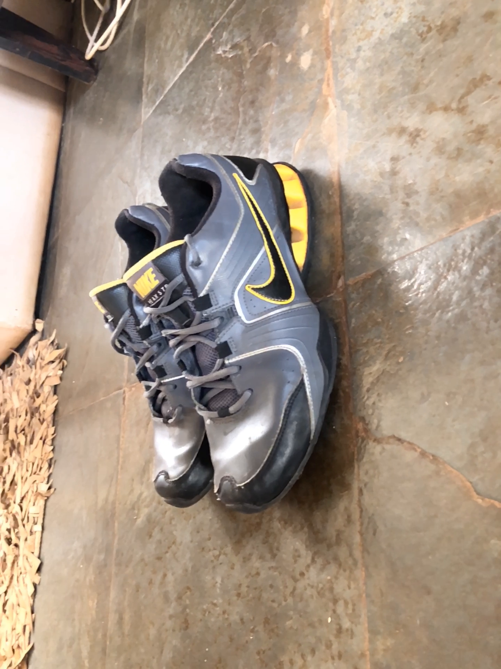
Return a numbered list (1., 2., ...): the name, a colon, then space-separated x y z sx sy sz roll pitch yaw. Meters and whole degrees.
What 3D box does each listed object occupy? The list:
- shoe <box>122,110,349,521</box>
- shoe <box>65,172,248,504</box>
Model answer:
1. shoe: -0.010 -0.004 0.372 0.100 0.100 0.240 -22 62 52
2. shoe: -0.073 0.011 0.452 0.100 0.100 0.240 -22 62 52
